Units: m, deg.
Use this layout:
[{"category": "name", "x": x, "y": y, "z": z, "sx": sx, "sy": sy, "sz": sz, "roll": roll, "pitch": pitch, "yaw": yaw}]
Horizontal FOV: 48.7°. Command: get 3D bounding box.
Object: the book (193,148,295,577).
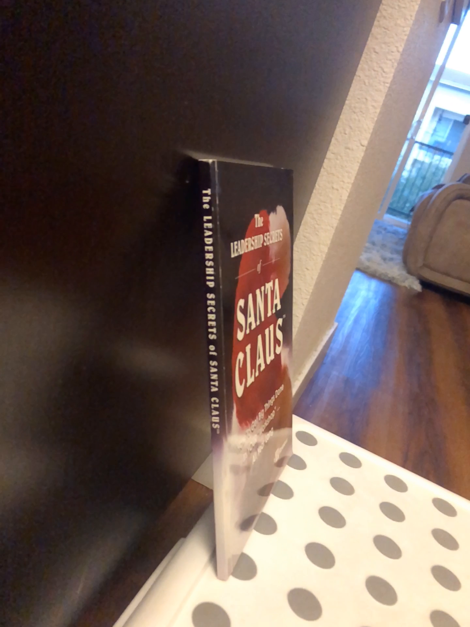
[{"category": "book", "x": 0.015, "y": 0.016, "z": 0.336, "sx": 0.010, "sy": 0.225, "sz": 0.161, "roll": 2, "pitch": 13, "yaw": 19}]
